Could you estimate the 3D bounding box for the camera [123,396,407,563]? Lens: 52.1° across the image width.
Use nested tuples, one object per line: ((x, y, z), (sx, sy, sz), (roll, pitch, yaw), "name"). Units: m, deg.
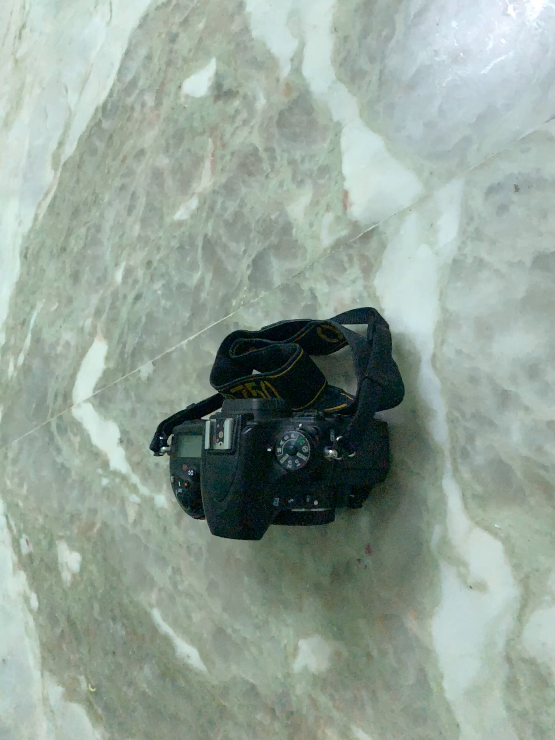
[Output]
((-0.009, 0.064, 0.363), (0.151, 0.099, 0.080), (-5, 79, 41), "camera")
